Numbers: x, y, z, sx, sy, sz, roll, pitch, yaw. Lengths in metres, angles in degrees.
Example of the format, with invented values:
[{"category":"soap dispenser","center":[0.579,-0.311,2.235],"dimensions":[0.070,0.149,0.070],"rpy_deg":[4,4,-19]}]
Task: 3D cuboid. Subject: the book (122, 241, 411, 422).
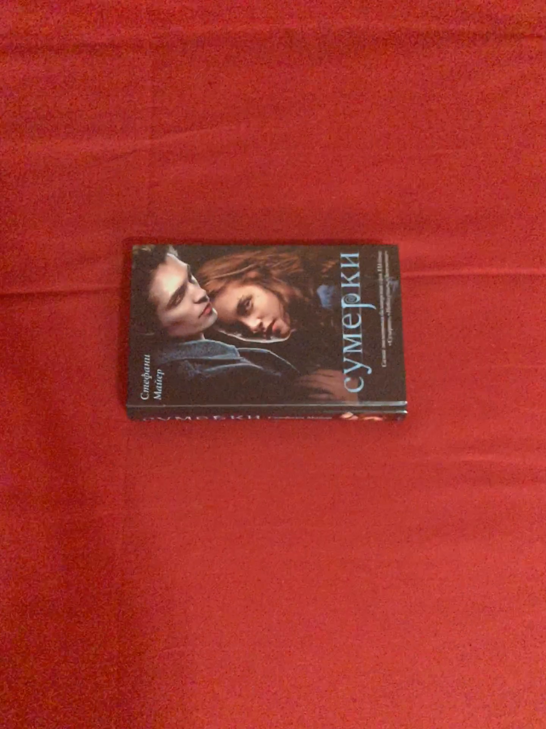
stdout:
[{"category":"book","center":[-0.004,-0.024,0.433],"dimensions":[0.209,0.036,0.134],"rpy_deg":[0,82,-1]}]
